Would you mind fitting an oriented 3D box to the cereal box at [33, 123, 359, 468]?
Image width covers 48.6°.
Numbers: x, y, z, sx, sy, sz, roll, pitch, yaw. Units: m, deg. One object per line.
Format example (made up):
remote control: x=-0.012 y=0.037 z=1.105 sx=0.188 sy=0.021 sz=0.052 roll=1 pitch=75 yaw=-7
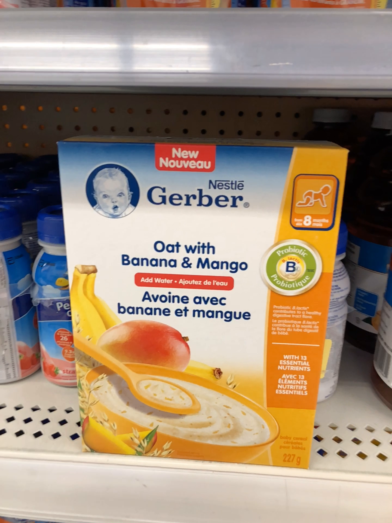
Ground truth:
cereal box: x=-0.003 y=0.023 z=0.251 sx=0.150 sy=0.189 sz=0.040 roll=3 pitch=20 yaw=4
